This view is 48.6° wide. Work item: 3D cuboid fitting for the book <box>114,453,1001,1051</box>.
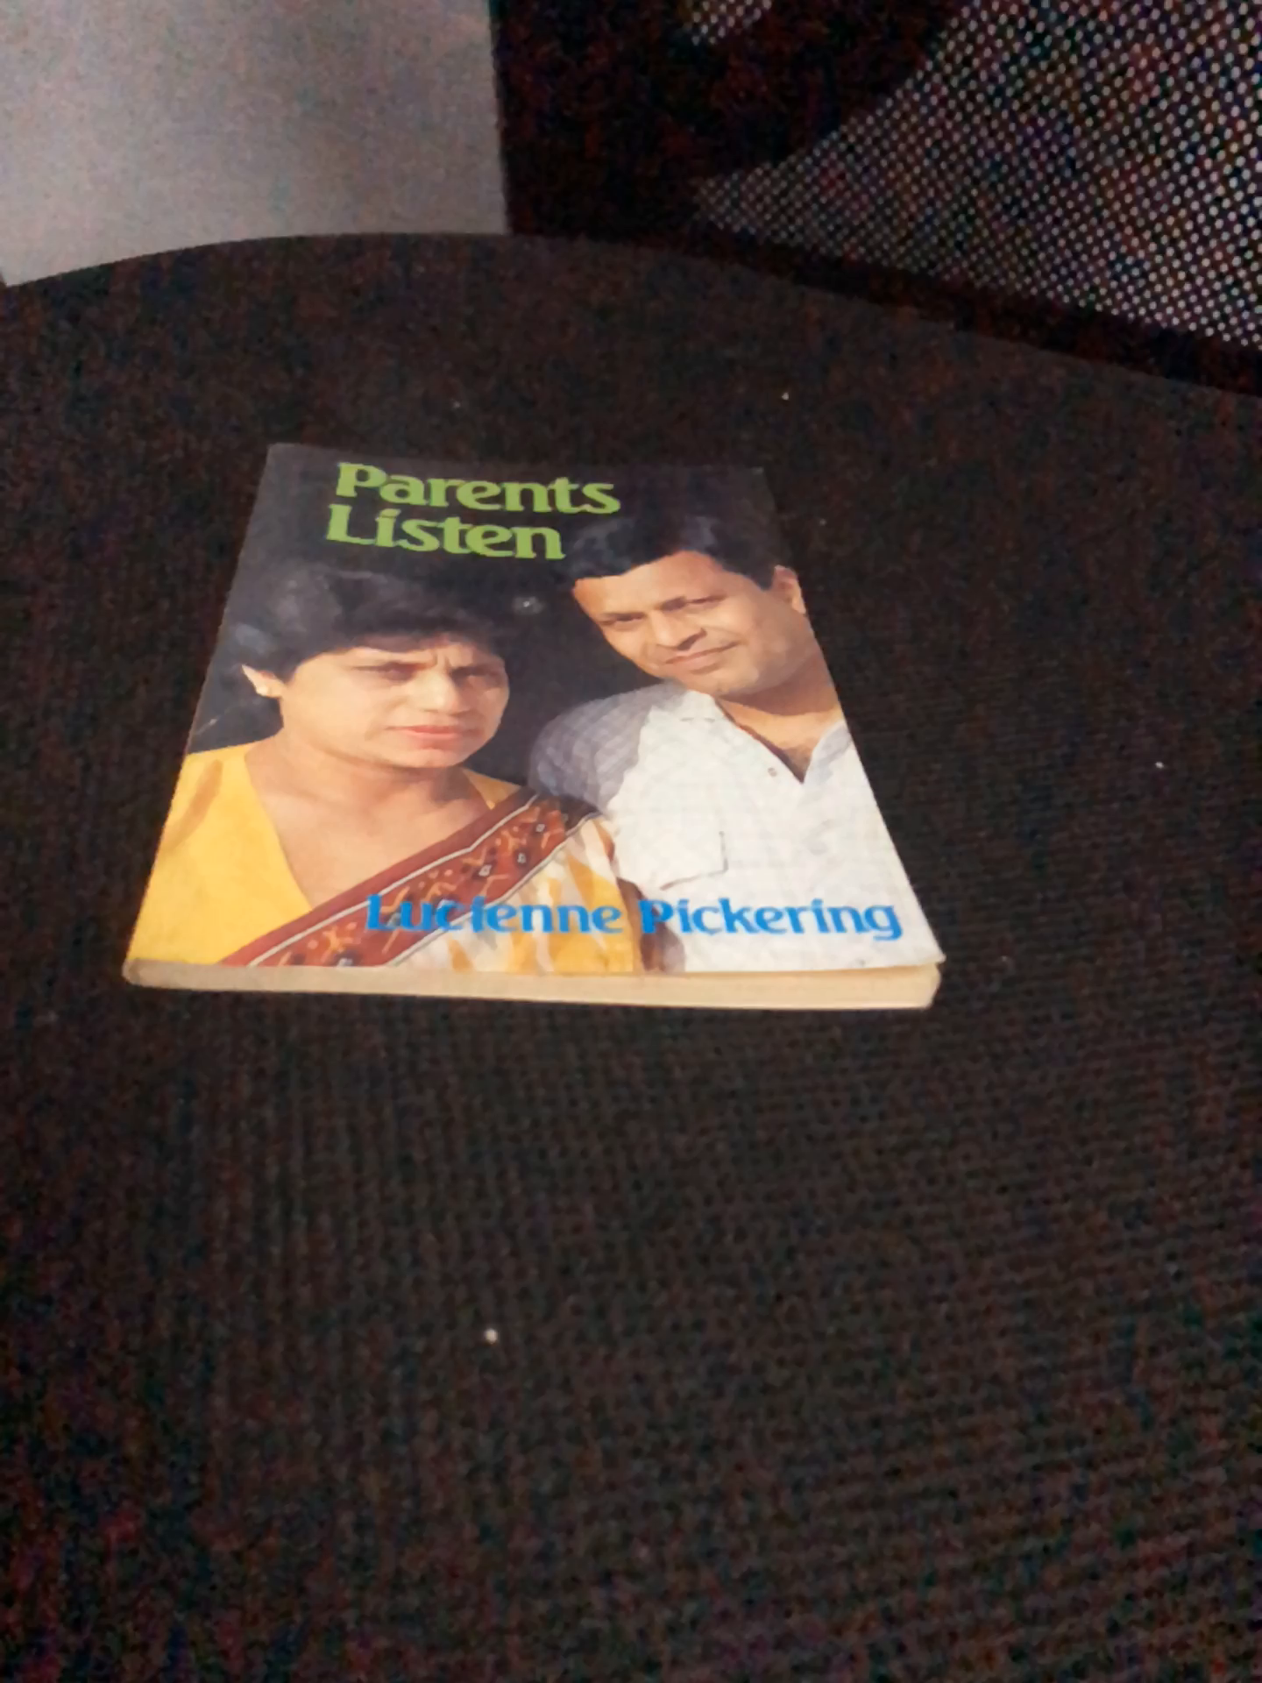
[{"bbox_3d":[-0.016,-0.032,0.282,0.130,0.010,0.191,2,37,-7],"label":"book"}]
